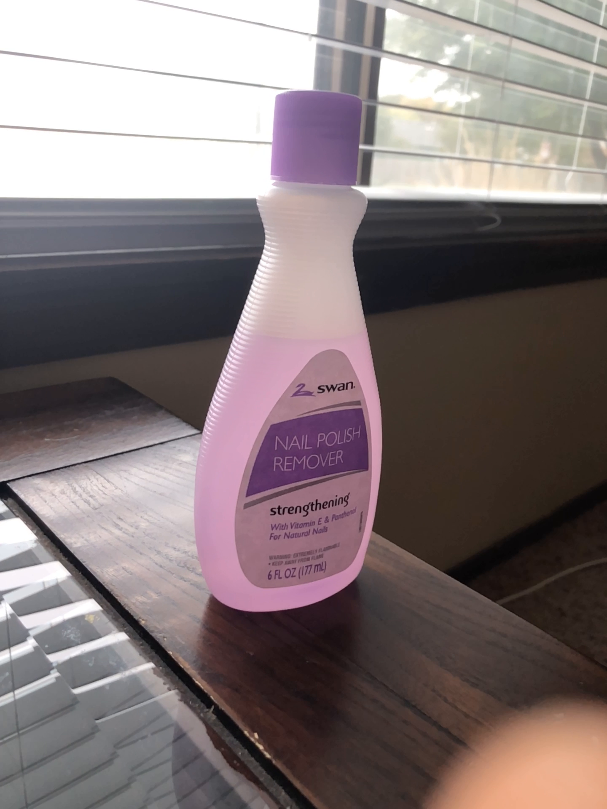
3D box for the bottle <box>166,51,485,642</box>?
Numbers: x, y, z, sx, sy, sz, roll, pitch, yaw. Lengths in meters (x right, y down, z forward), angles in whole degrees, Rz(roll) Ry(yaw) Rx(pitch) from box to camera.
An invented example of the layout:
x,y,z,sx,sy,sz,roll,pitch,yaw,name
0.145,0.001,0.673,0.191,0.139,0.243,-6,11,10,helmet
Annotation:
x,y,z,sx,sy,sz,roll,pitch,yaw,name
0.001,-0.017,0.228,0.080,0.170,0.050,-8,22,-29,bottle
